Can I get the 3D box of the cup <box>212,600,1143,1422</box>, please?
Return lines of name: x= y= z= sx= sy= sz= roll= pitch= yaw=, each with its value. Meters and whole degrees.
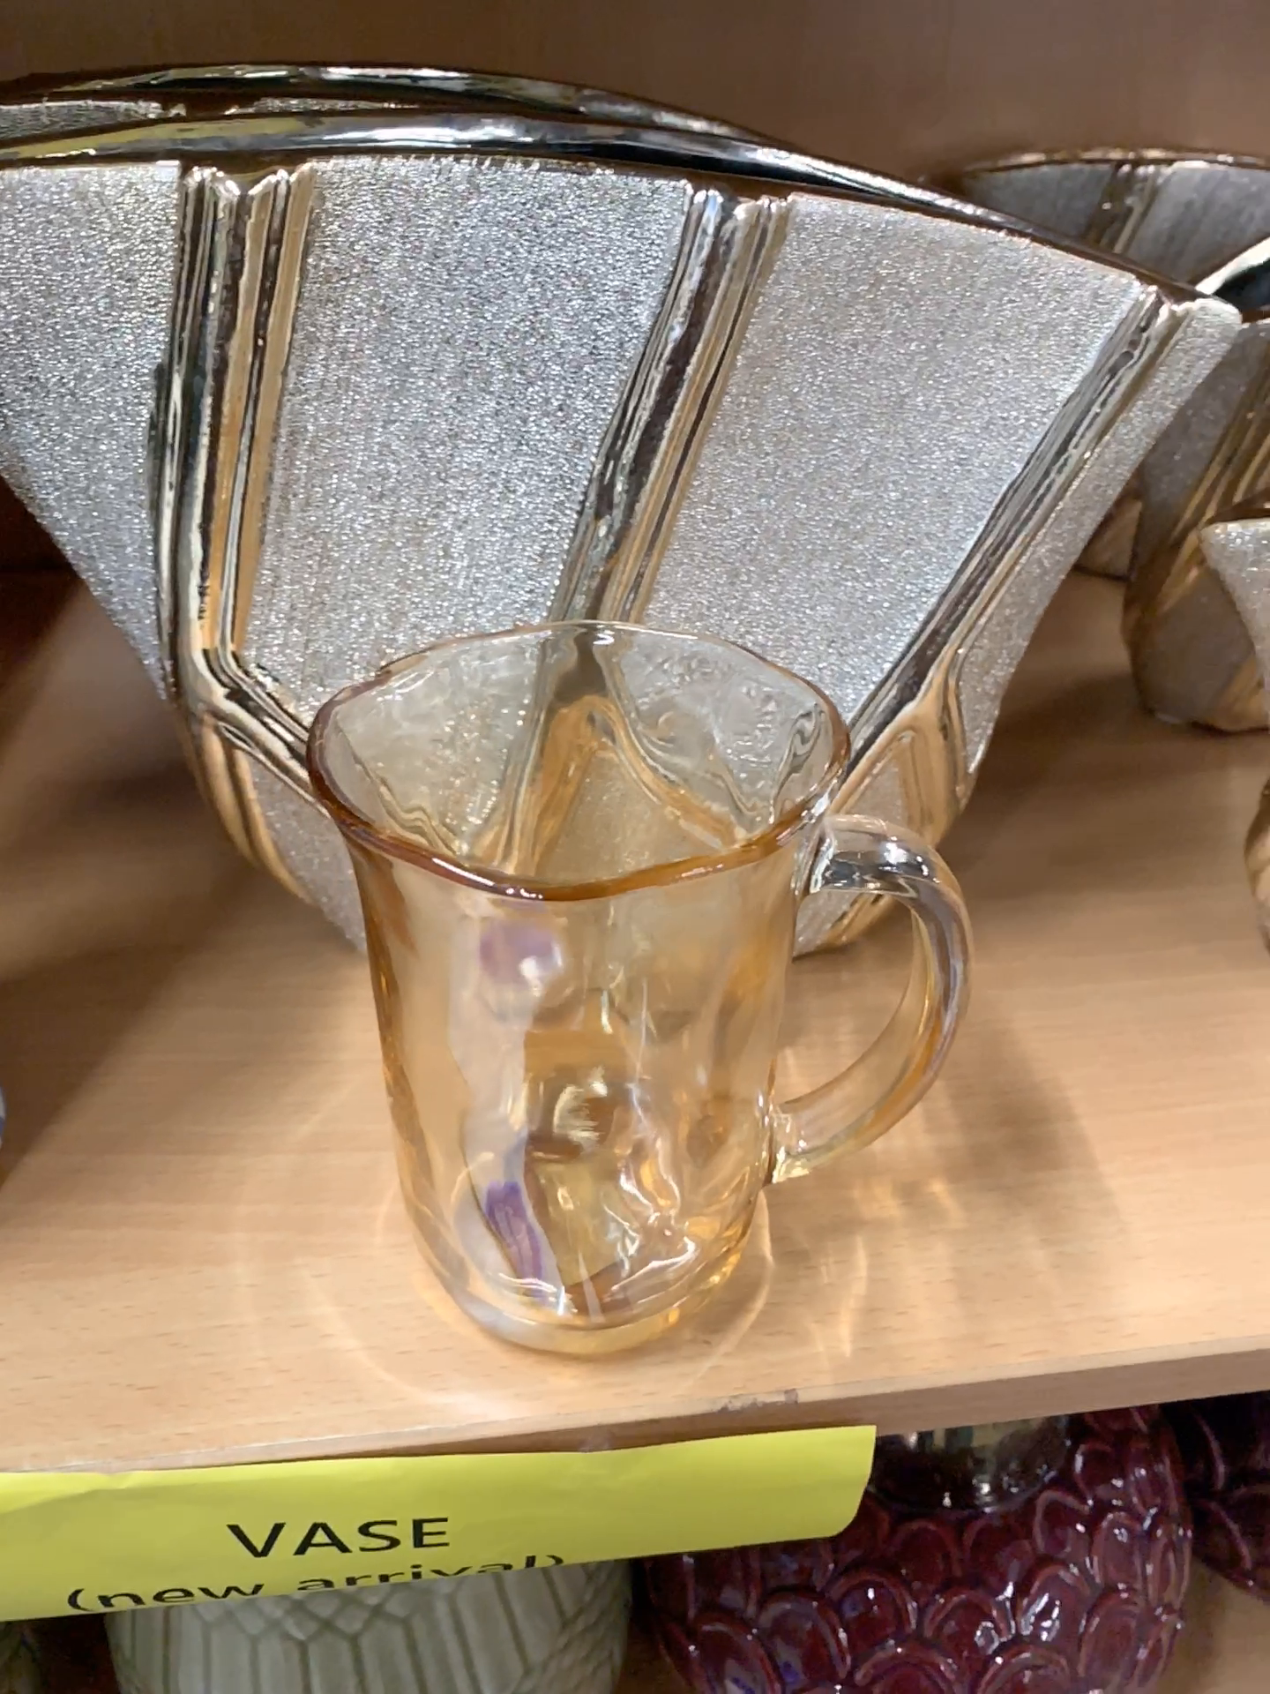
cup: x=0.002 y=0.024 z=0.216 sx=0.110 sy=0.100 sz=0.080 roll=-2 pitch=34 yaw=-5
